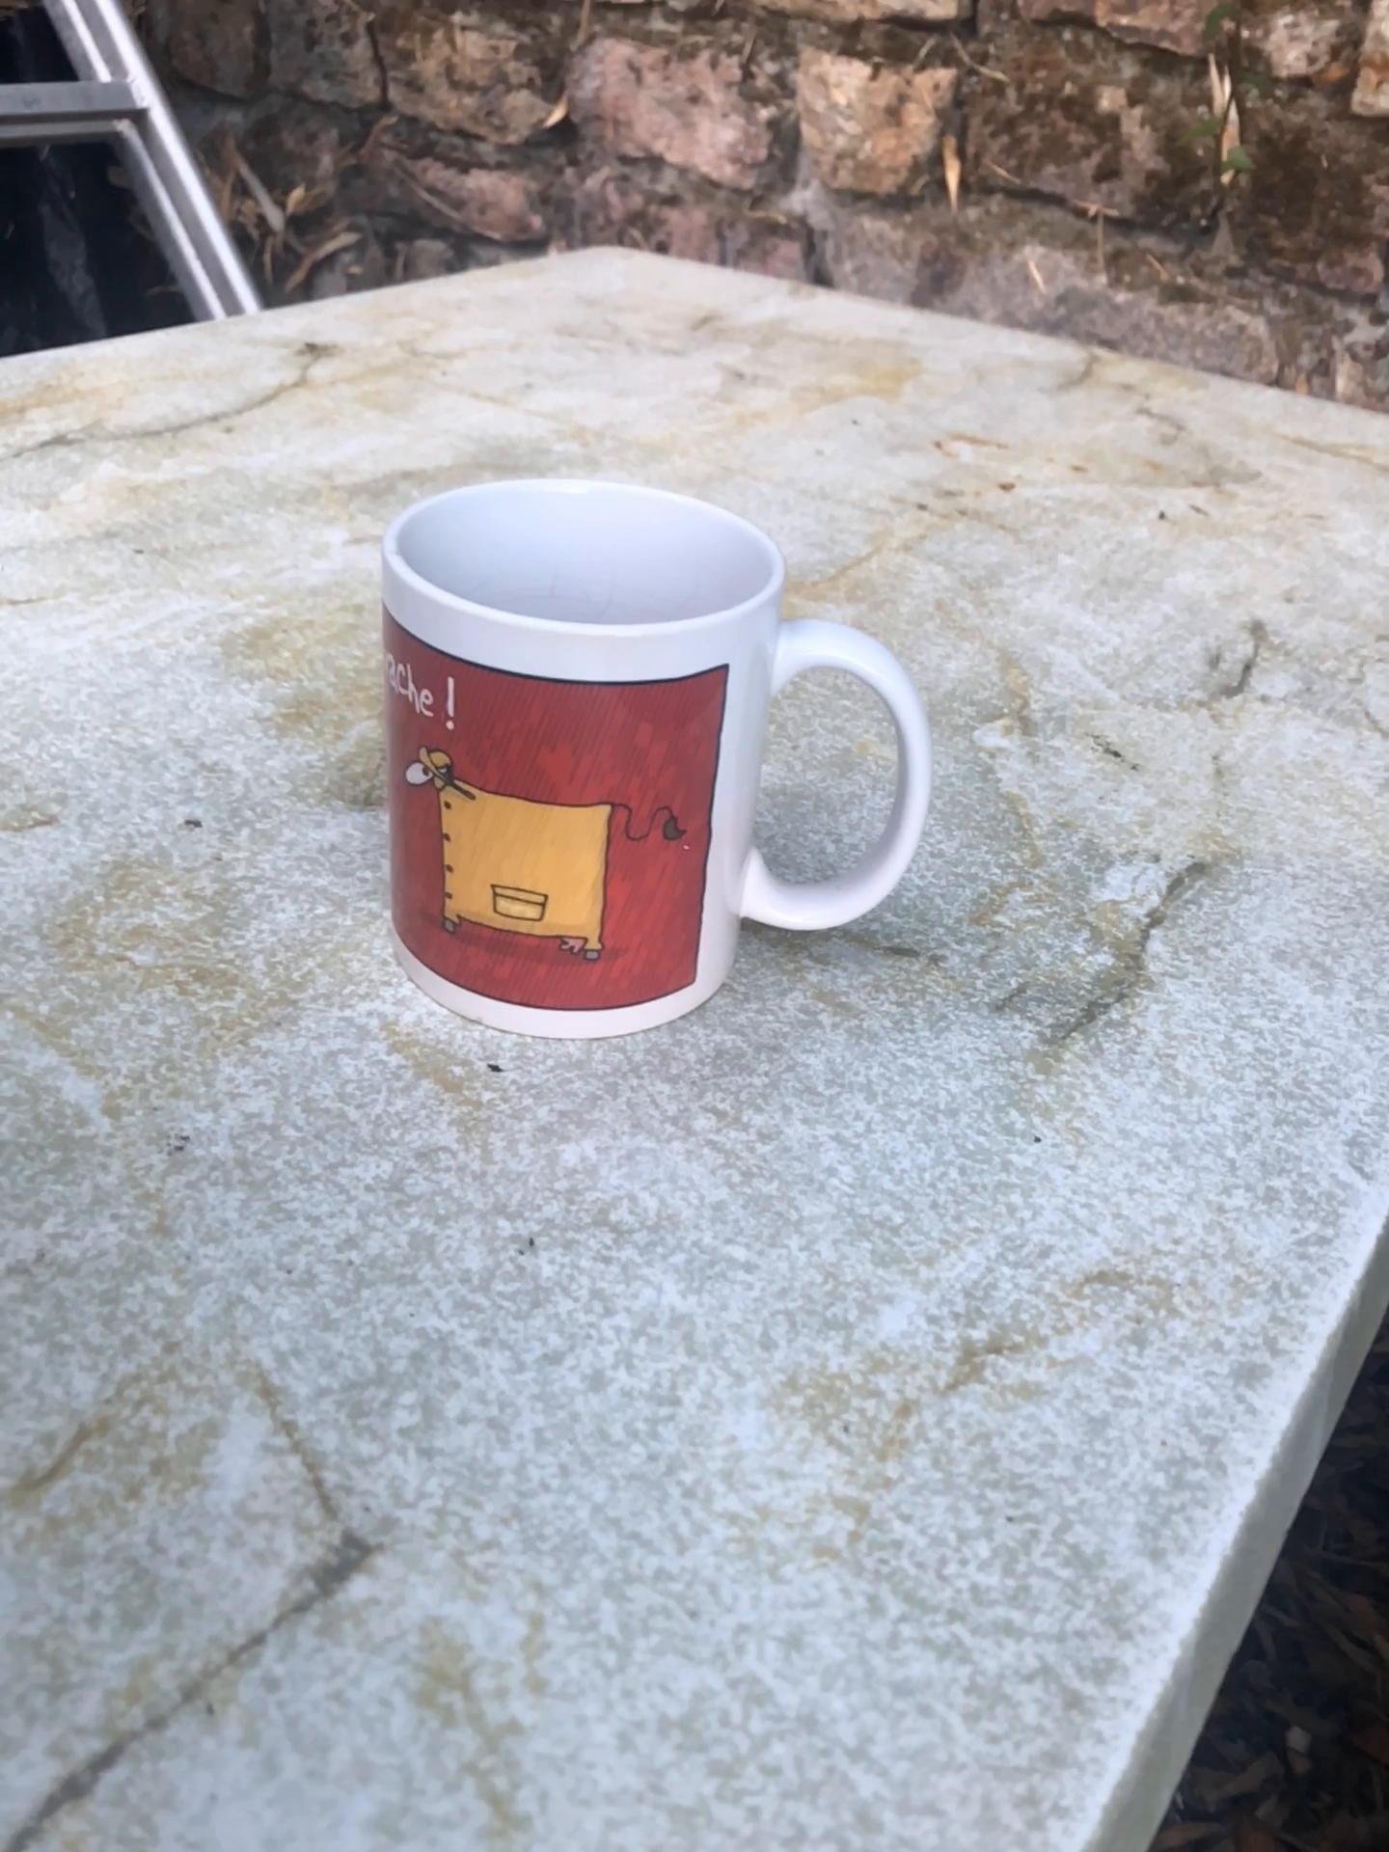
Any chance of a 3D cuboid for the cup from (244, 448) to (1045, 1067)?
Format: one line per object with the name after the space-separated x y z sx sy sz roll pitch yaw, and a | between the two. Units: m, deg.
-0.009 -0.036 0.306 0.129 0.083 0.087 4 35 -1 | cup
